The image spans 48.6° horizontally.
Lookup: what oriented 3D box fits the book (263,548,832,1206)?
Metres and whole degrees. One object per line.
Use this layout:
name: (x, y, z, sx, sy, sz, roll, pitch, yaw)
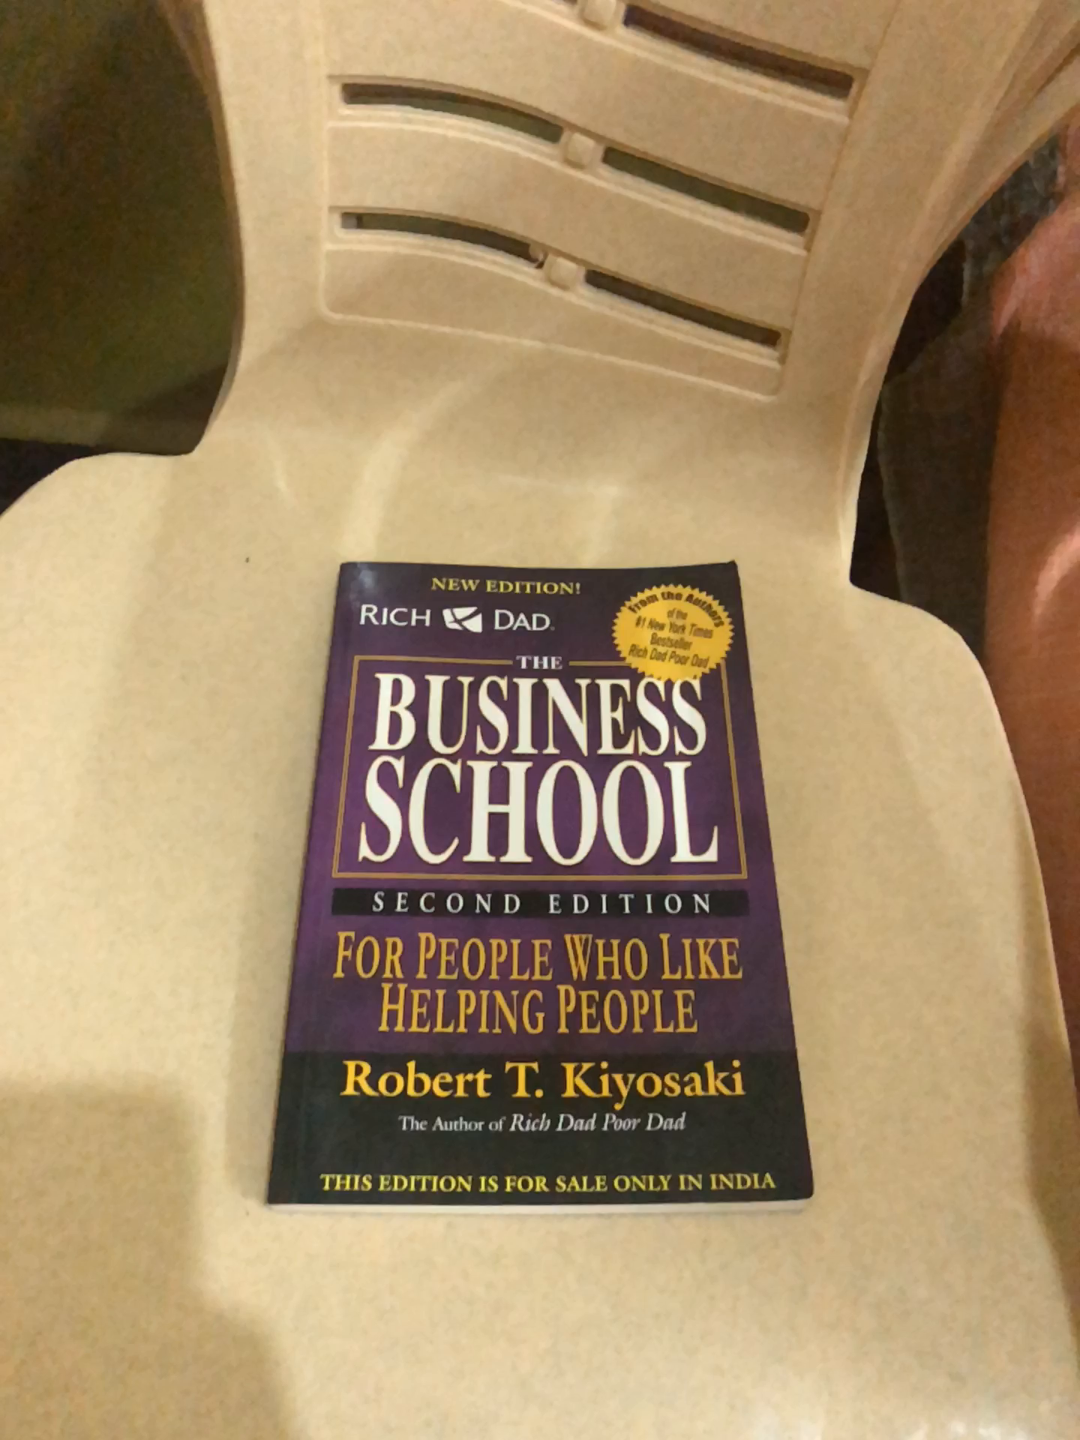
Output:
book: (0.002, 0.044, 0.416, 0.170, 0.020, 0.230, 0, 64, -2)
